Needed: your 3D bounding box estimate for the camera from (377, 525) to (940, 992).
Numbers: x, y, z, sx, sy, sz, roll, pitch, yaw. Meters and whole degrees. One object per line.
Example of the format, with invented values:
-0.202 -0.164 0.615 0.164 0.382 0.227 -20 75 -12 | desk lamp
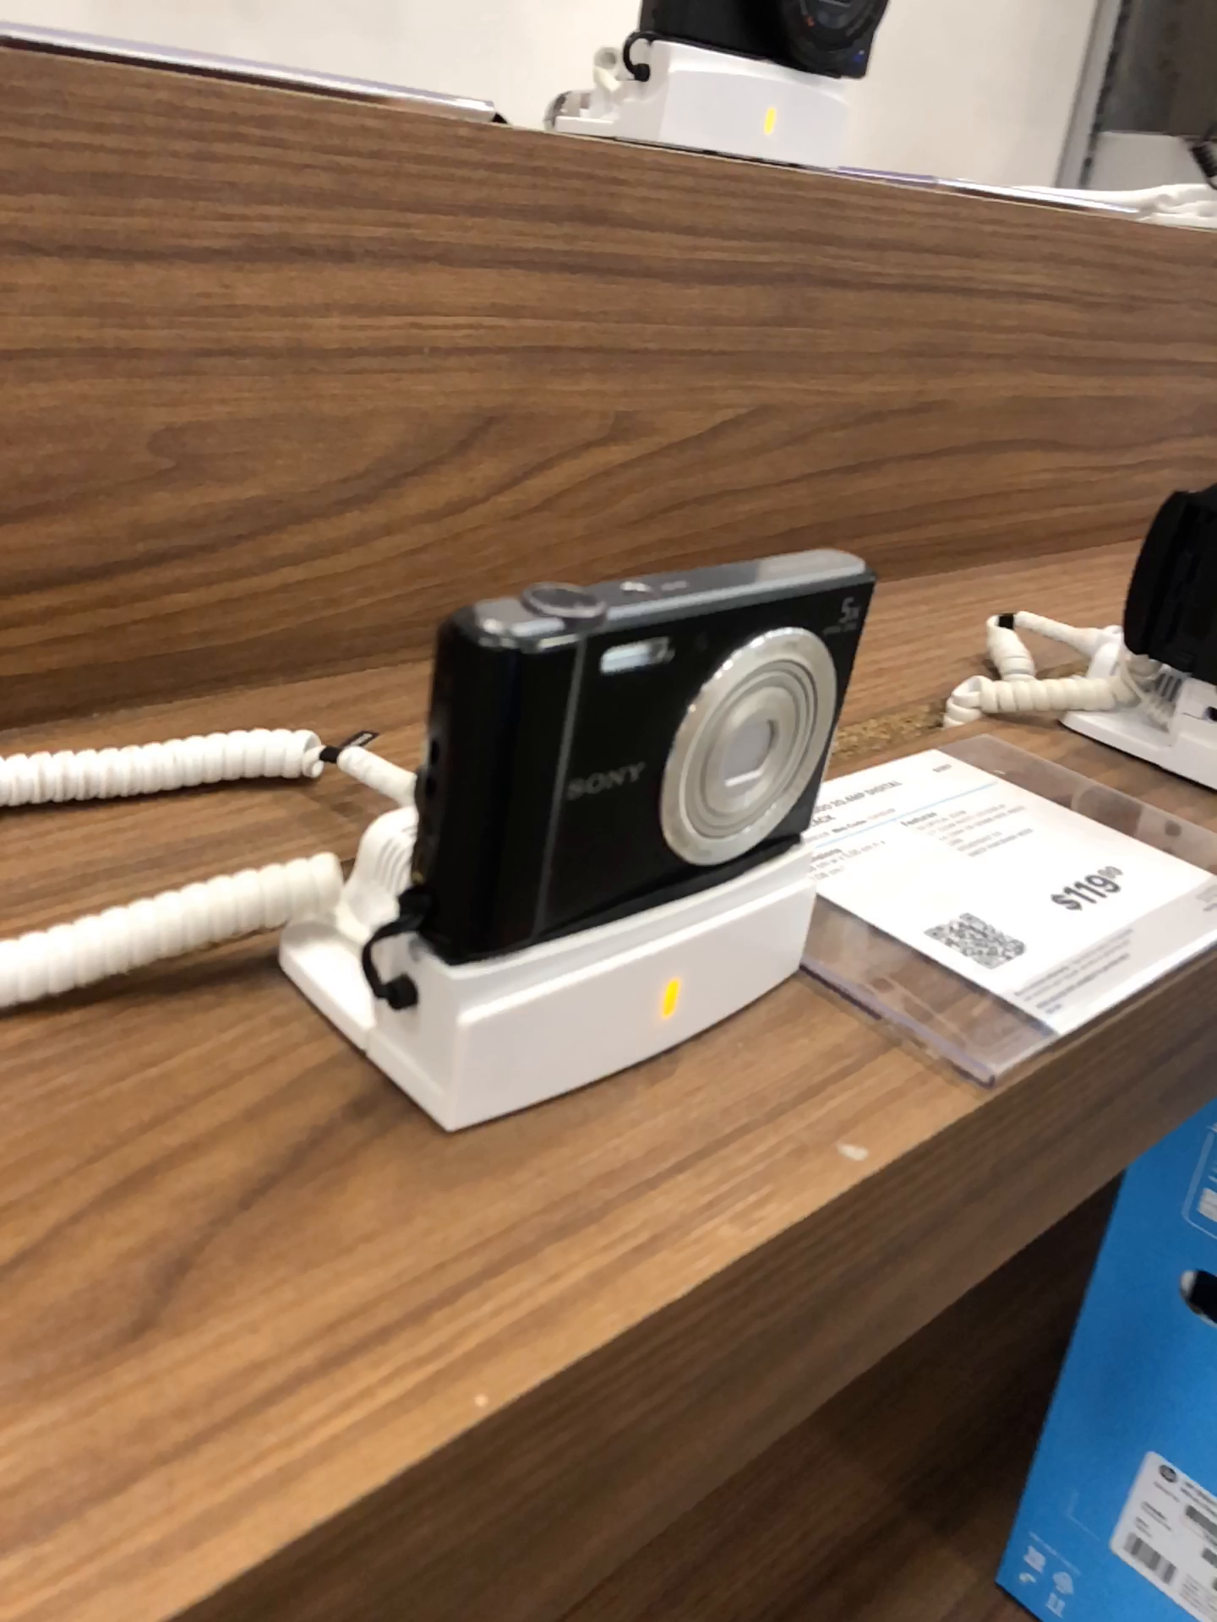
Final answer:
0.011 -0.013 0.231 0.100 0.060 0.020 -16 40 -41 | camera
